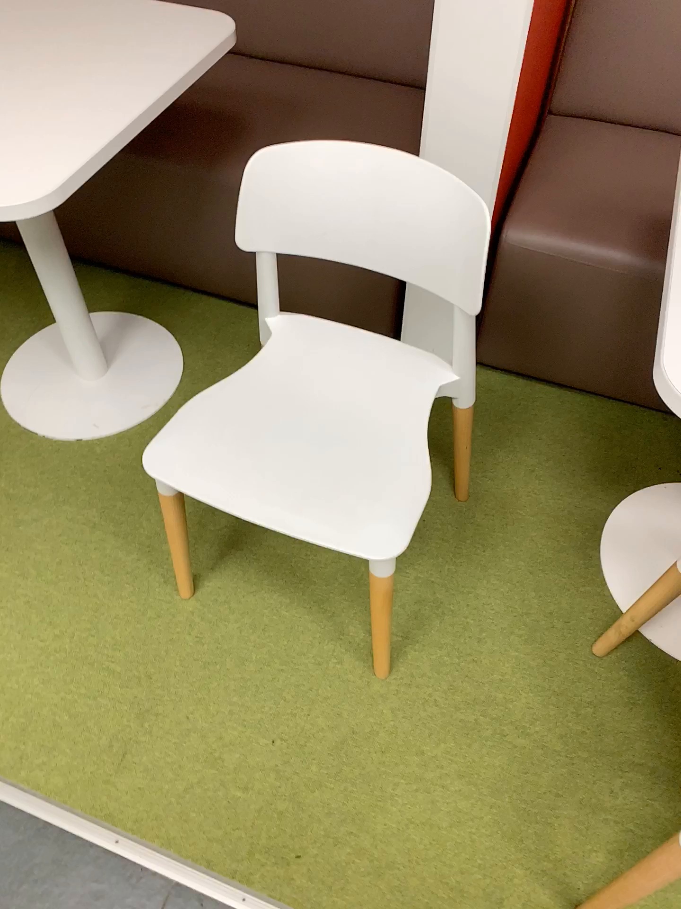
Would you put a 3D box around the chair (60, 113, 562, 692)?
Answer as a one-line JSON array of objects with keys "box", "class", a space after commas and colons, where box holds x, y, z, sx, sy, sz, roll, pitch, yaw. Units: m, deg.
[{"box": [-0.014, -0.048, 1.232, 0.500, 0.787, 0.502, 19, 54, 14], "class": "chair"}]
